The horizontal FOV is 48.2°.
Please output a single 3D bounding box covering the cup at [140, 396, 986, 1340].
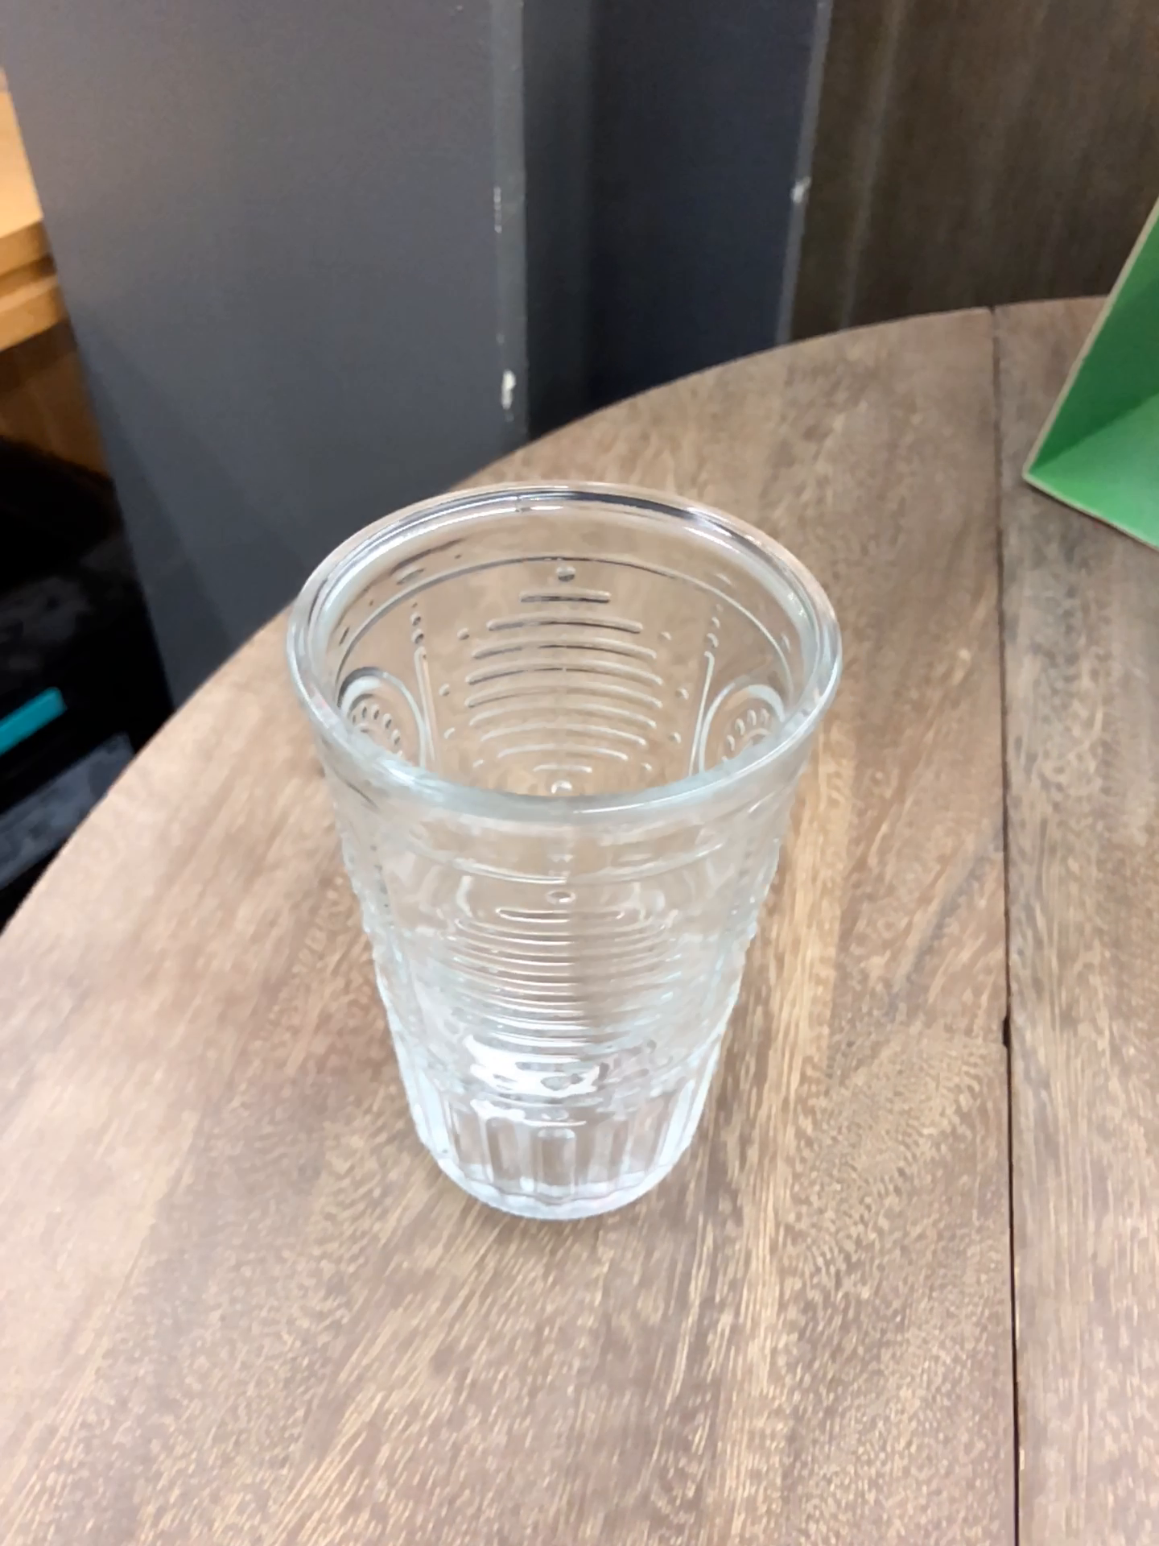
[{"bbox_3d":[-0.002,0.014,0.224,0.085,0.107,0.088,0,44,0],"label":"cup"}]
